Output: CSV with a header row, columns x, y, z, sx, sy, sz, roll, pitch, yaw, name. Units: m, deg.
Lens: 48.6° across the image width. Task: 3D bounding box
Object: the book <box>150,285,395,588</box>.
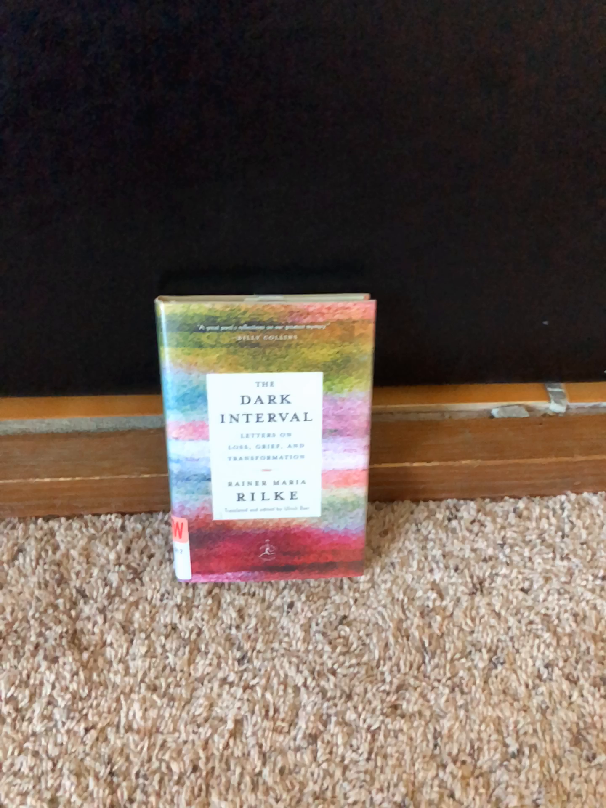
x,y,z,sx,sy,sz,roll,pitch,yaw,name
-0.019,0.024,0.419,0.135,0.190,0.030,-1,21,-5,book
